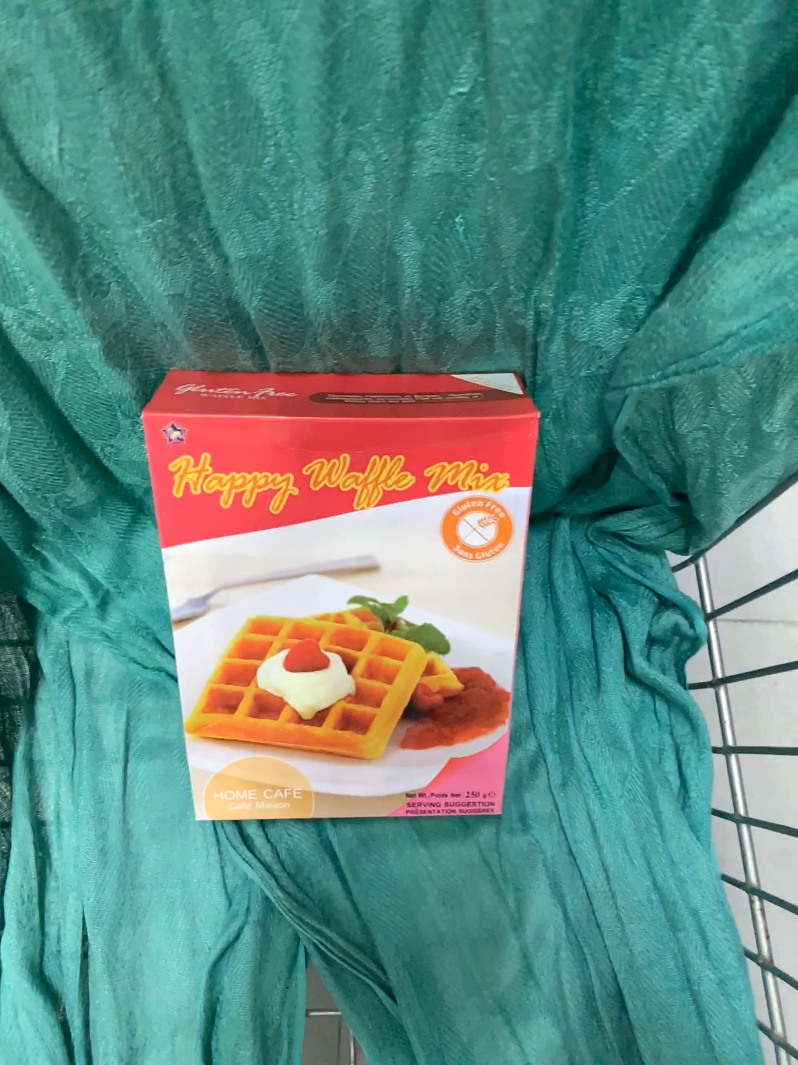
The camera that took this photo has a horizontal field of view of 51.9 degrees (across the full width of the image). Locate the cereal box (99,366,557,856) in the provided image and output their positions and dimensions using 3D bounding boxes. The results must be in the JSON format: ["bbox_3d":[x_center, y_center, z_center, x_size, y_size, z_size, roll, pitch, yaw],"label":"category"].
[{"bbox_3d":[-0.022,0.035,0.299,0.130,0.180,0.050,1,29,-1],"label":"cereal box"}]
